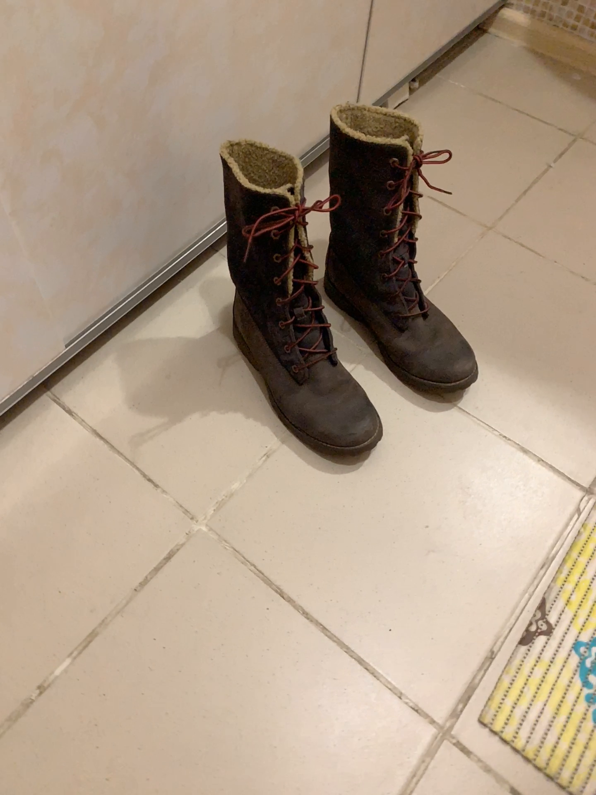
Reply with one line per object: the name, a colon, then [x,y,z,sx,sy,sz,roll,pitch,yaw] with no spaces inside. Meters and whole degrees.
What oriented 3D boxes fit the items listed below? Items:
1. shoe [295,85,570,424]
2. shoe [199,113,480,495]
shoe: [0.121,-0.152,0.698,0.100,0.249,0.280,-33,67,-17]
shoe: [0.014,-0.089,0.620,0.100,0.249,0.281,-25,61,-22]
